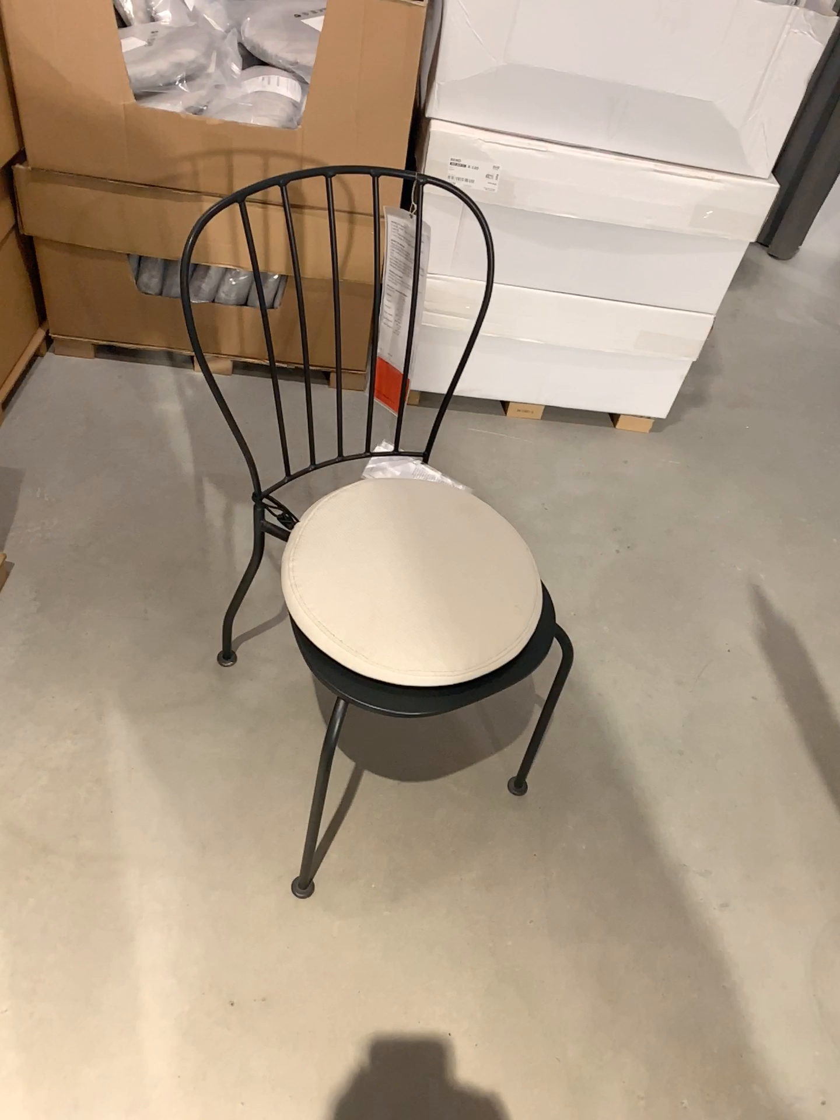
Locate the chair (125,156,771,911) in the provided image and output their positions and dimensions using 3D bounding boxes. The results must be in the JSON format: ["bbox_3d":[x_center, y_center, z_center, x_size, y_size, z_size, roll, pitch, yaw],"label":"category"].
[{"bbox_3d":[-0.053,-0.014,1.170,0.481,0.817,0.521,-16,53,-25],"label":"chair"}]
